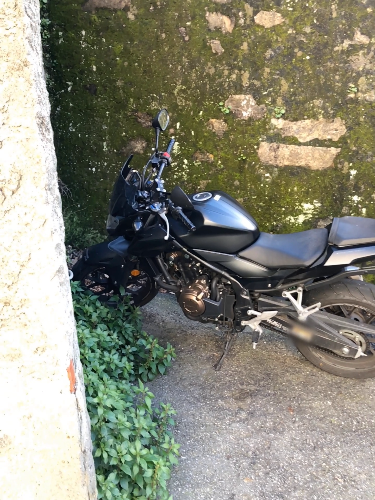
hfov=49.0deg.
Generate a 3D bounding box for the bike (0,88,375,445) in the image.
[{"bbox_3d":[0.132,-0.004,2.026,1.783,1.198,0.714,9,21,8],"label":"bike"}]
